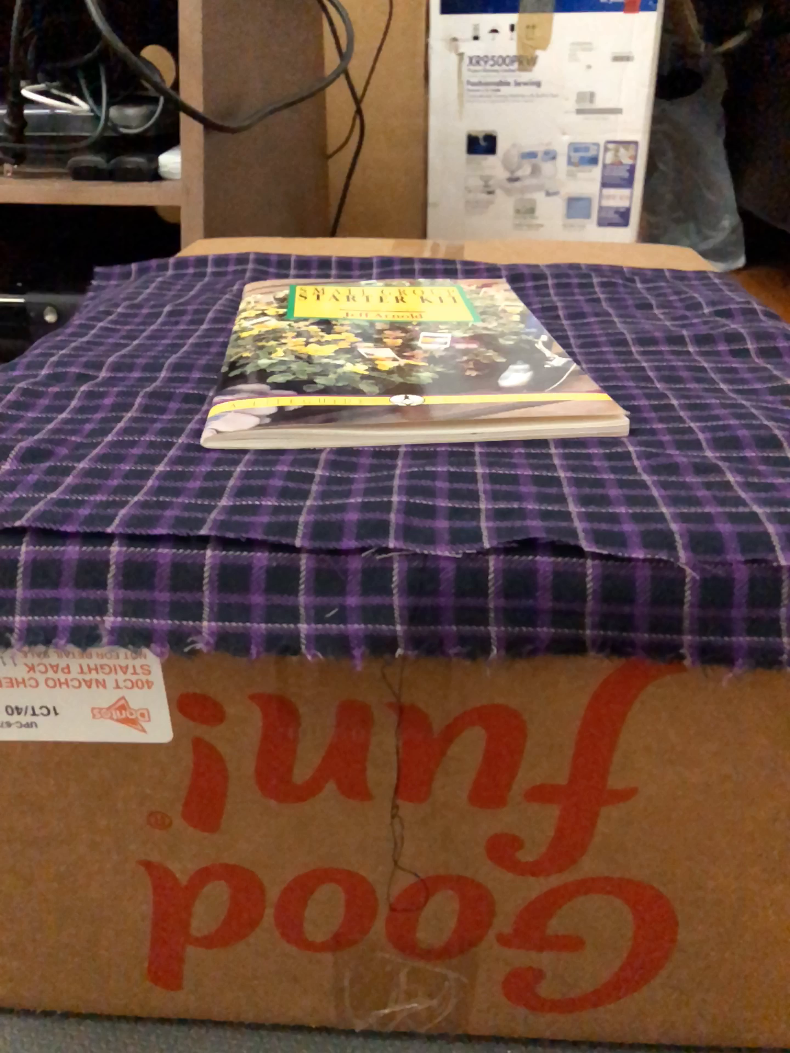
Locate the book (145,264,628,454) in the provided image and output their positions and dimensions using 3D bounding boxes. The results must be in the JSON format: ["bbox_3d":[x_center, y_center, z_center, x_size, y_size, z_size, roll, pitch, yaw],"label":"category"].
[{"bbox_3d":[-0.010,-0.082,0.370,0.150,0.010,0.221,-3,28,-4],"label":"book"}]
